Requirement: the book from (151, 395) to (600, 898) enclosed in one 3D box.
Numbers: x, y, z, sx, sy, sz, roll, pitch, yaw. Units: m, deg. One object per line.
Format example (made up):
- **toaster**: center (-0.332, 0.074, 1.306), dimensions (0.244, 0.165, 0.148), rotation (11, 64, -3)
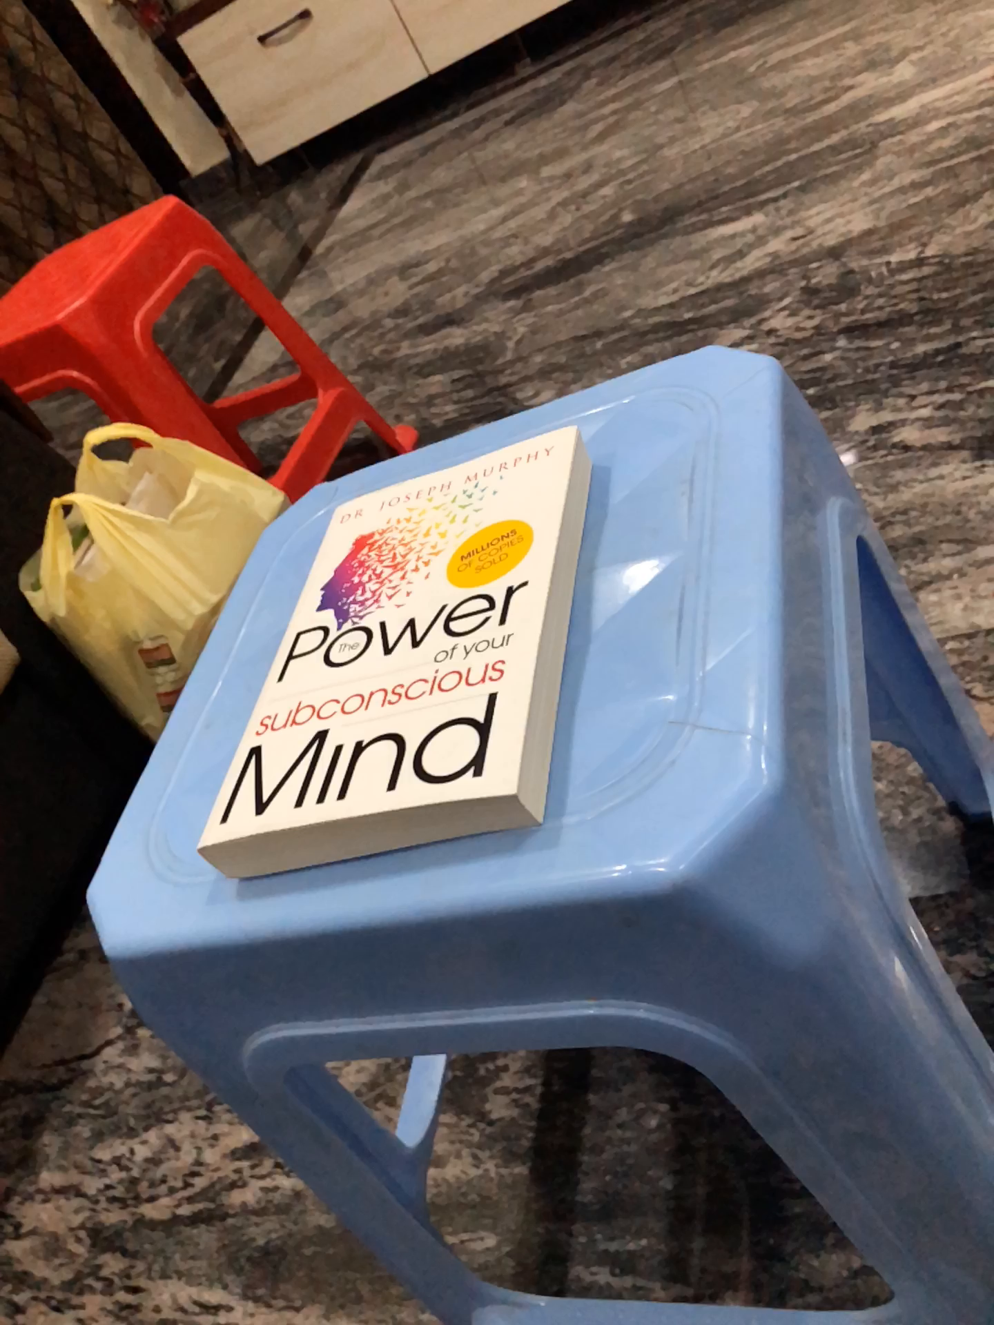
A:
- **book**: center (-0.038, -0.013, 0.428), dimensions (0.140, 0.030, 0.201), rotation (-15, 42, 26)
